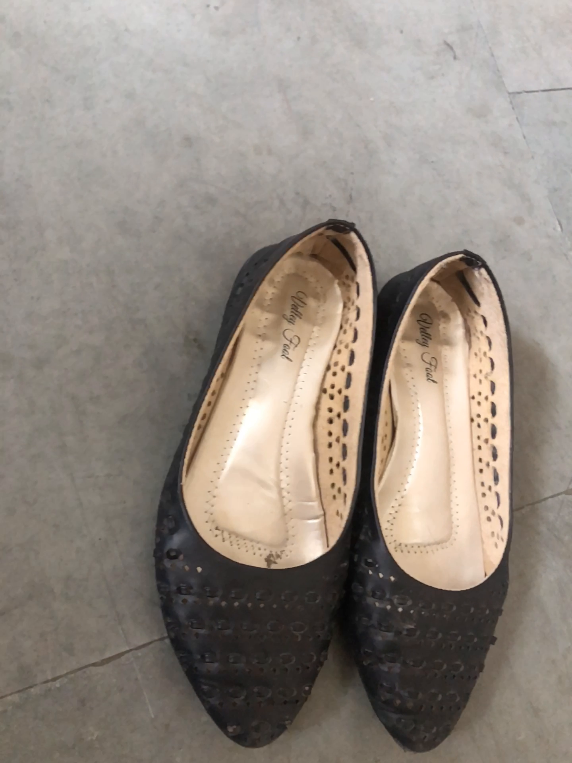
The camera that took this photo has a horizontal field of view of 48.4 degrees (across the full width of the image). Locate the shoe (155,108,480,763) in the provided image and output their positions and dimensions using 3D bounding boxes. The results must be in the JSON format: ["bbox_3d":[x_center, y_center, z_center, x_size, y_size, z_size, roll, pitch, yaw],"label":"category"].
[{"bbox_3d":[0.017,0.027,0.295,0.100,0.070,0.270,11,77,-16],"label":"shoe"}]

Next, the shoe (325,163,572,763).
[{"bbox_3d":[0.092,0.040,0.331,0.100,0.070,0.280,11,72,-16],"label":"shoe"}]
